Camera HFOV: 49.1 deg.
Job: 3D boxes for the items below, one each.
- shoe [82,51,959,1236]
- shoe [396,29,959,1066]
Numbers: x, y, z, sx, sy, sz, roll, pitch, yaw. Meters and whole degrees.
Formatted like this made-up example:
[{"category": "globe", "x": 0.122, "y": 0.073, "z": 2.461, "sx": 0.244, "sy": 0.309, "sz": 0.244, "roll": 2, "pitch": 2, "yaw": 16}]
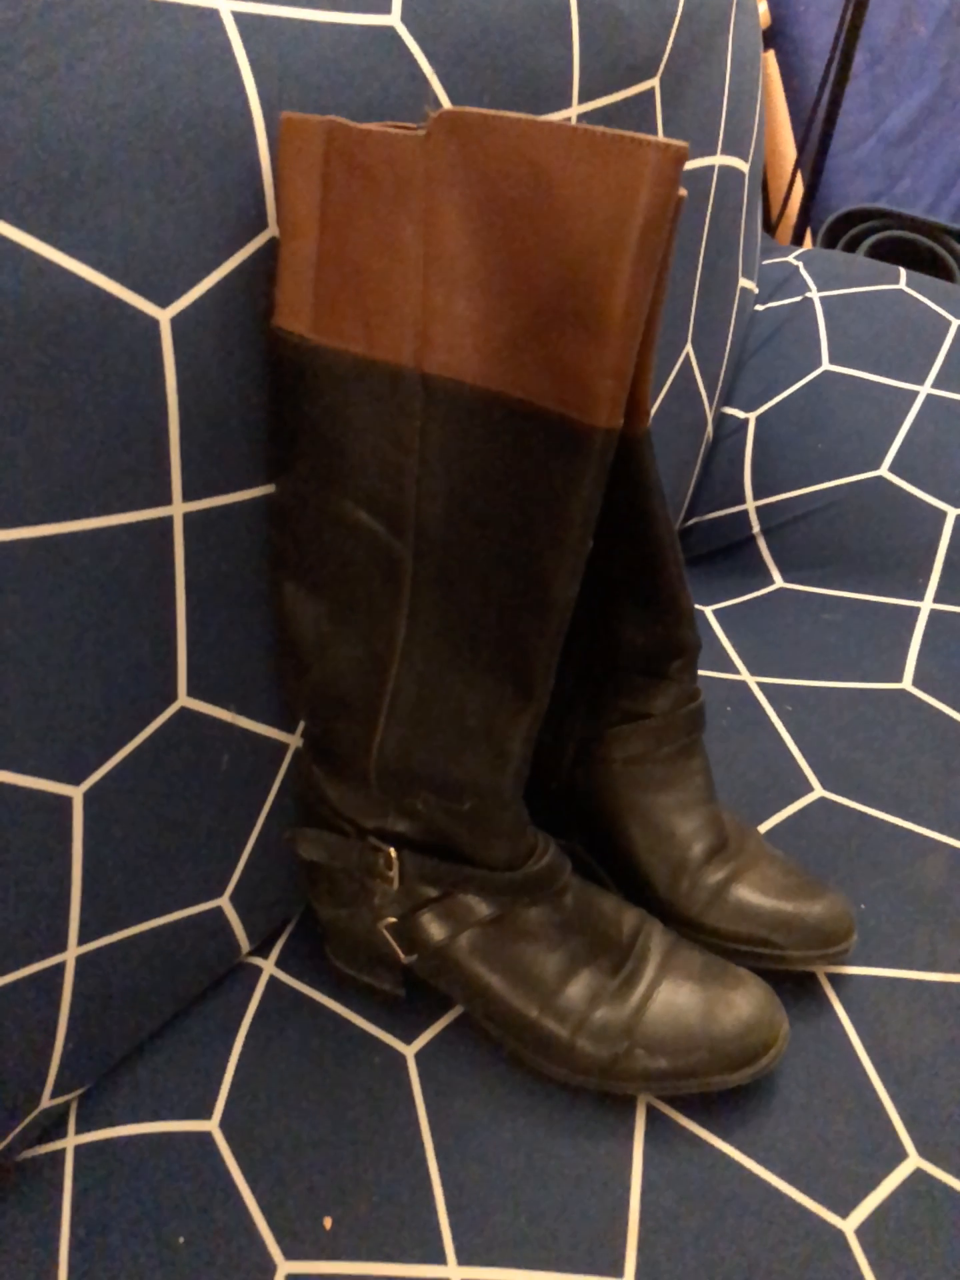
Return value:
[{"category": "shoe", "x": 0.014, "y": 0.026, "z": 0.435, "sx": 0.271, "sy": 0.427, "sz": 0.110, "roll": 26, "pitch": 46, "yaw": 26}, {"category": "shoe", "x": 0.090, "y": -0.022, "z": 0.462, "sx": 0.100, "sy": 0.378, "sz": 0.251, "roll": -33, "pitch": 53, "yaw": -32}]
